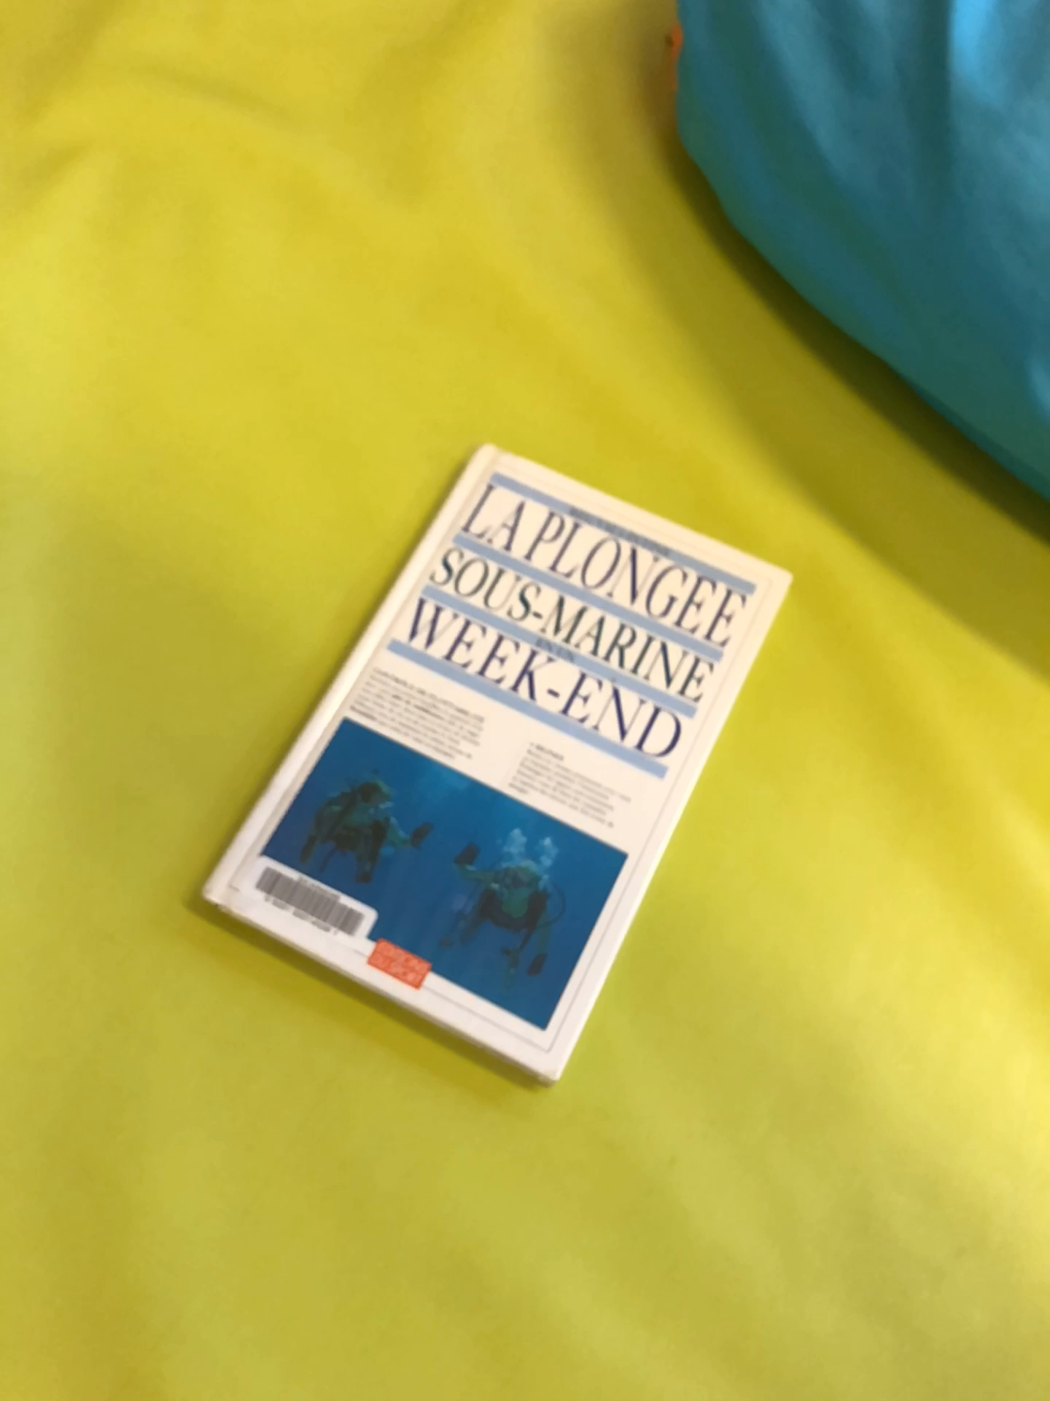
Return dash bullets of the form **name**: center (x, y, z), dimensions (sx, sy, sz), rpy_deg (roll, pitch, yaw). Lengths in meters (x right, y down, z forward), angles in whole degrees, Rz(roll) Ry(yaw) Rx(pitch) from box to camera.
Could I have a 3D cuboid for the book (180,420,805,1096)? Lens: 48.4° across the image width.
- **book**: center (-0.004, 0.009, 0.460), dimensions (0.150, 0.020, 0.235), rpy_deg (25, 68, 10)
